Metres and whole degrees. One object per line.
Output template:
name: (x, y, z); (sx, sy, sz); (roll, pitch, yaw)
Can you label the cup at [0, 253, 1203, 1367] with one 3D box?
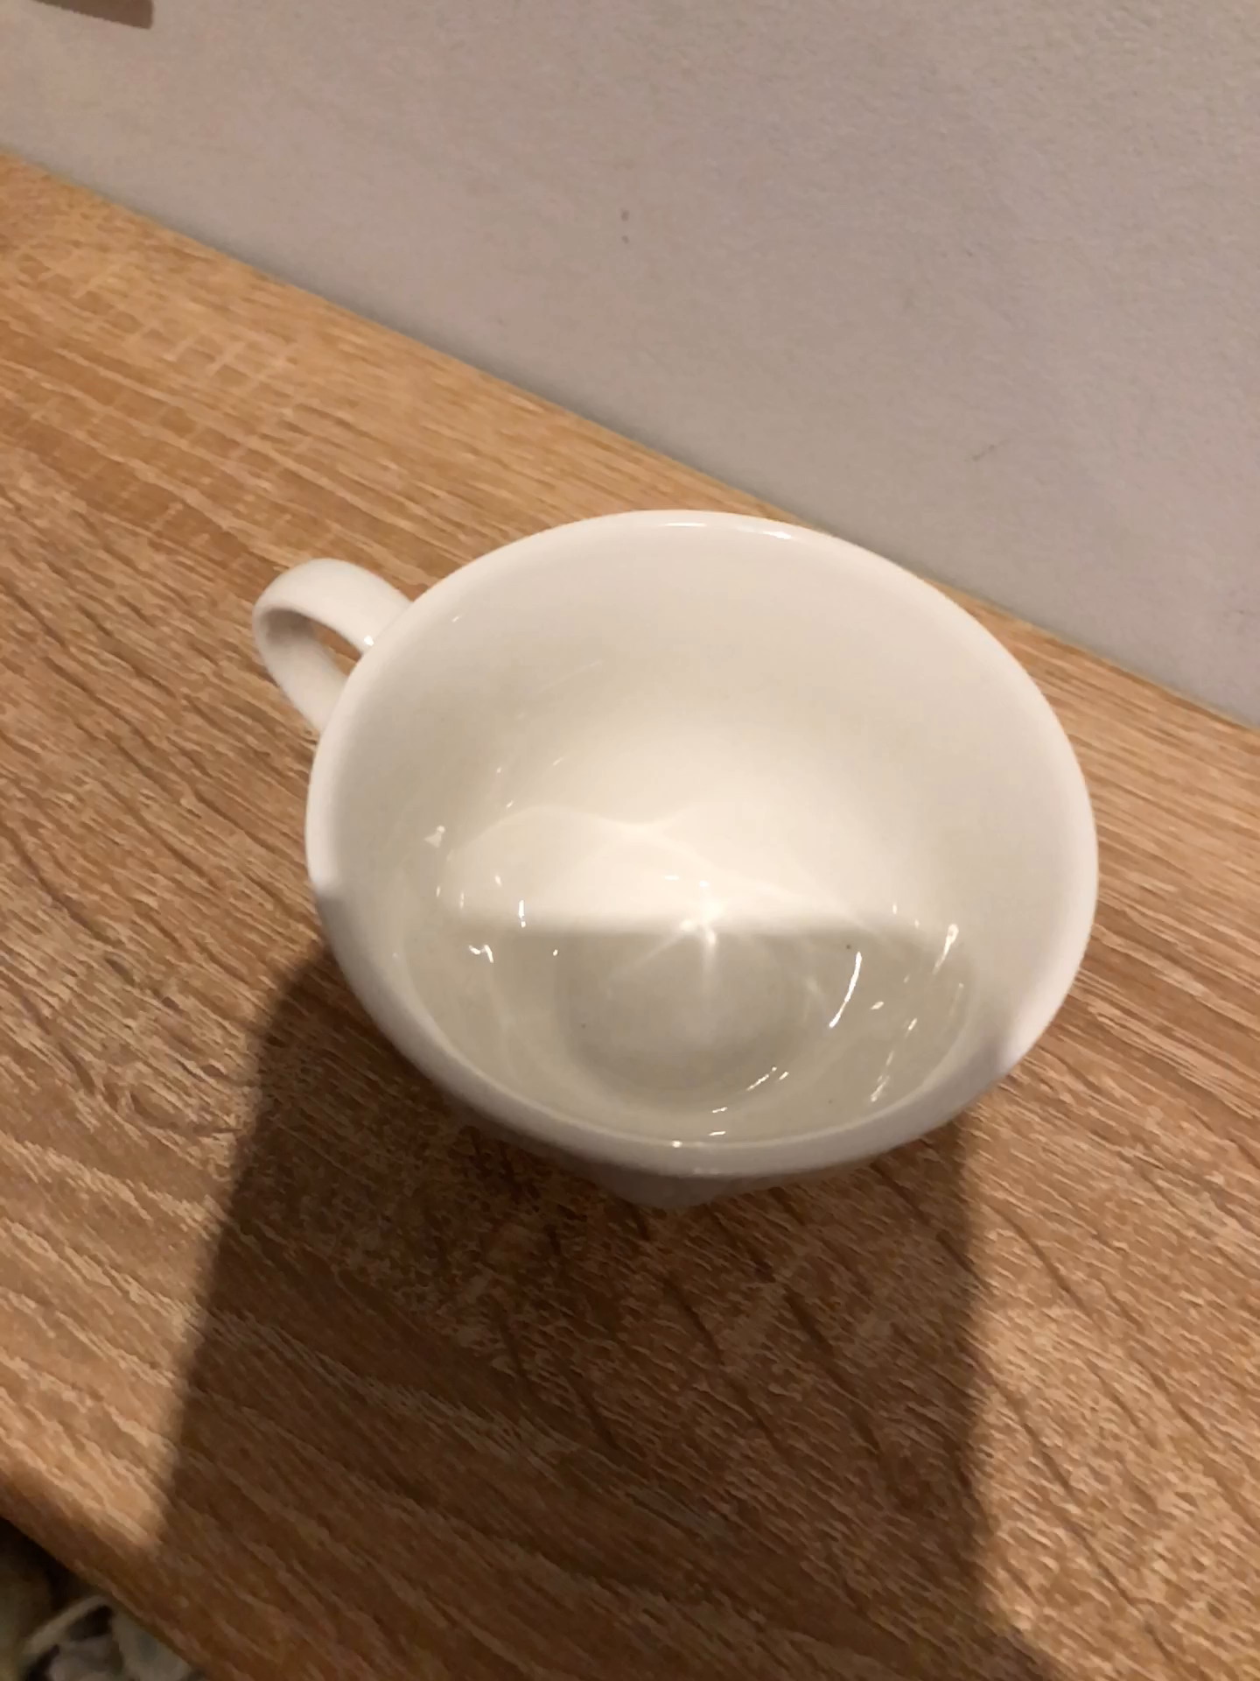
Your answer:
cup: (-0.009, -0.005, 0.141); (0.100, 0.050, 0.060); (24, 61, 13)
